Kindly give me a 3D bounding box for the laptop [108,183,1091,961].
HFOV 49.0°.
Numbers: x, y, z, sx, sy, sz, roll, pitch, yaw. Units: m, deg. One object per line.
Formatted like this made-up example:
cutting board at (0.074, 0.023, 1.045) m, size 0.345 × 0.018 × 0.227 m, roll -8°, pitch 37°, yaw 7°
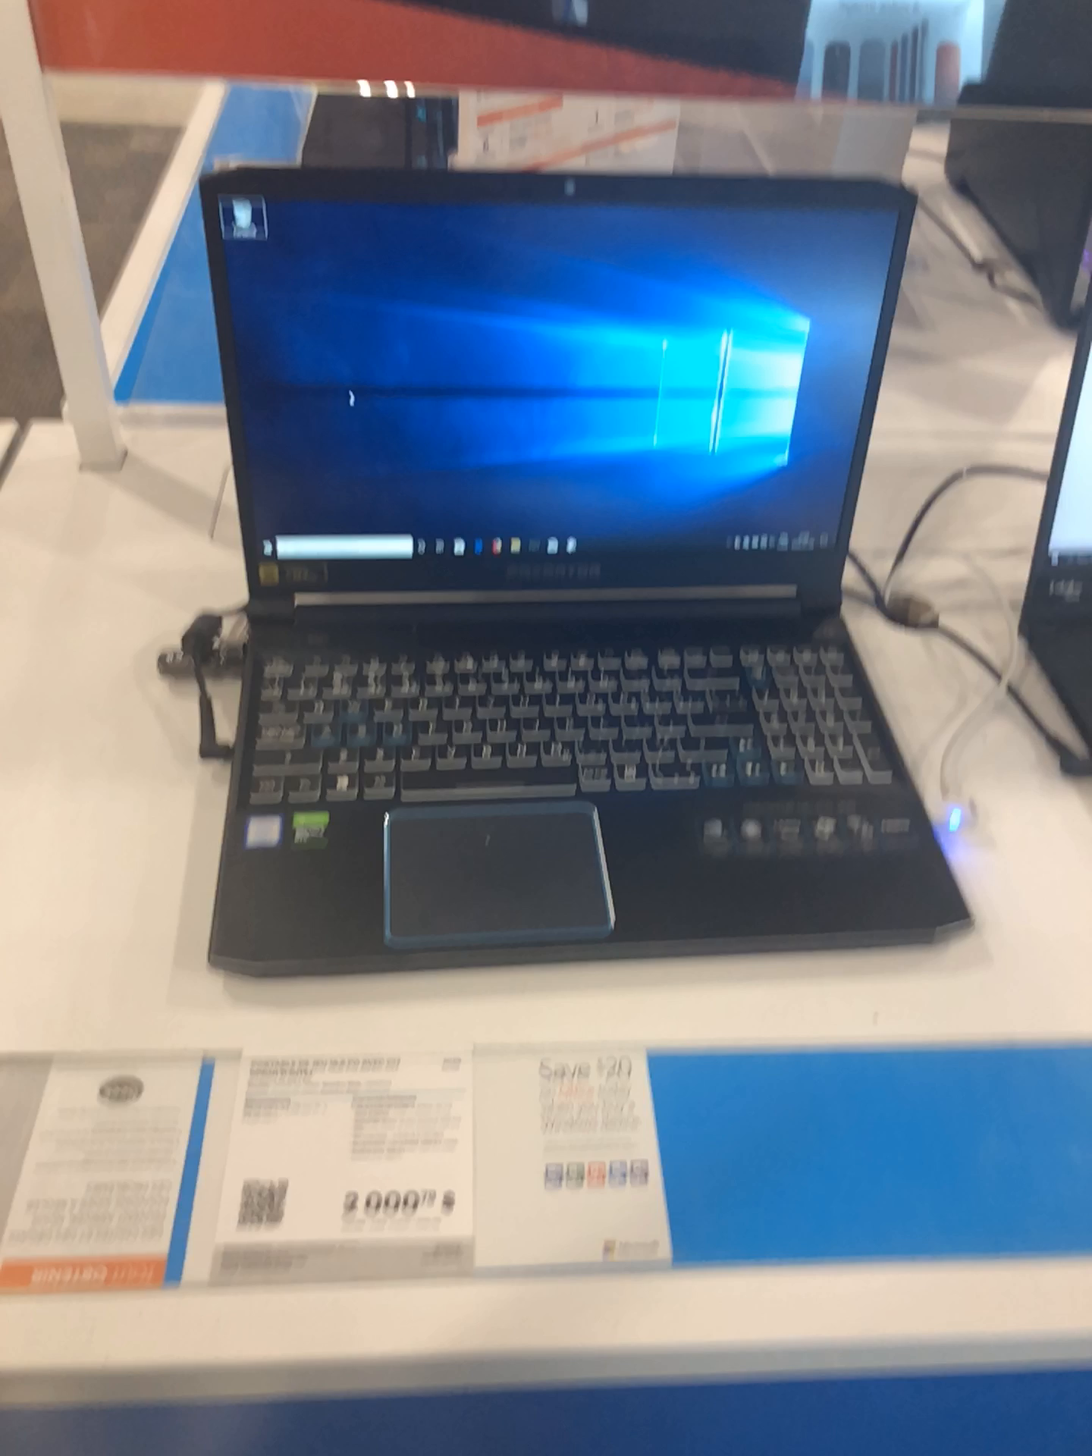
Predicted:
laptop at (0.020, -0.083, 0.564) m, size 0.348 × 0.230 × 0.274 m, roll -2°, pitch 45°, yaw -5°
